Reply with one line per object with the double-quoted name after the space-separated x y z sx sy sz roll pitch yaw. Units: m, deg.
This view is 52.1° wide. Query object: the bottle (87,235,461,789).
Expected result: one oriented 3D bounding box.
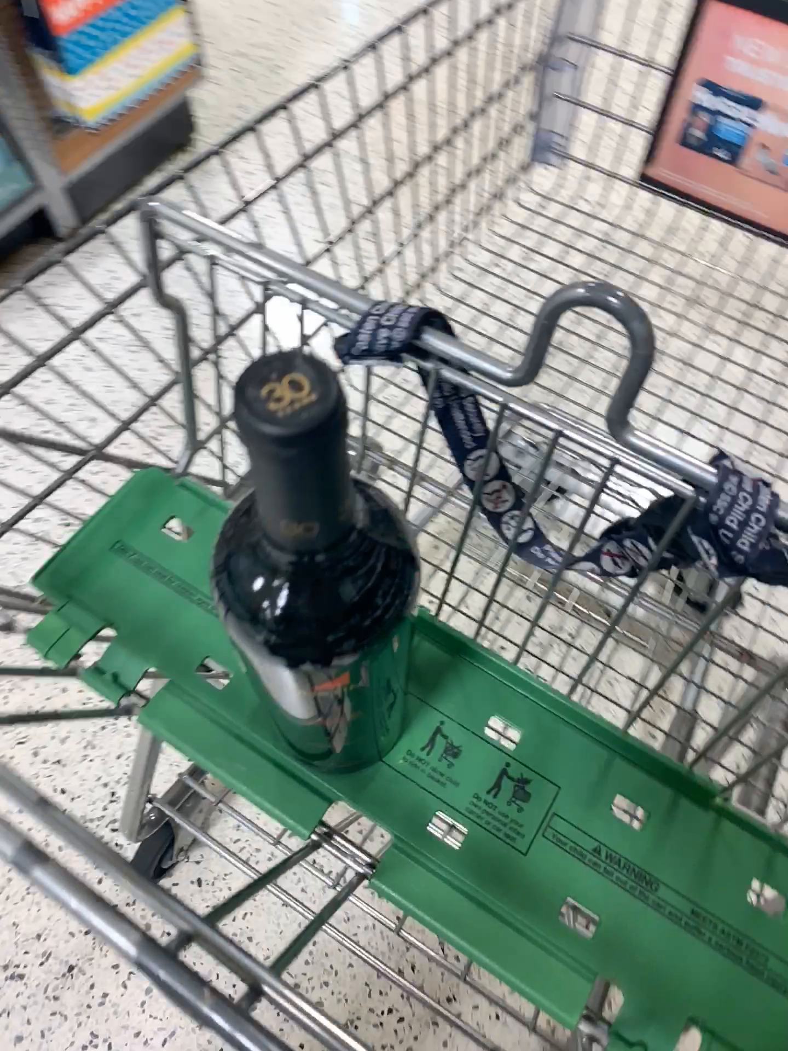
-0.030 0.032 0.323 0.080 0.298 0.081 0 62 0 "bottle"
